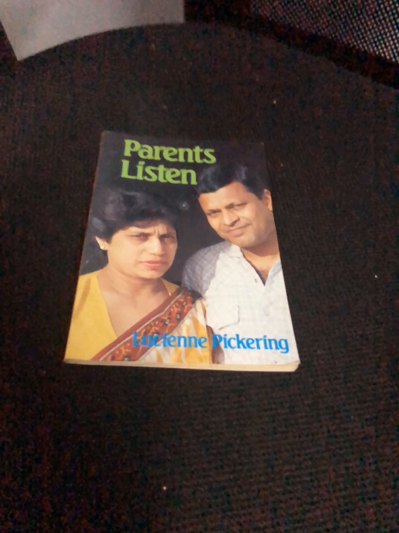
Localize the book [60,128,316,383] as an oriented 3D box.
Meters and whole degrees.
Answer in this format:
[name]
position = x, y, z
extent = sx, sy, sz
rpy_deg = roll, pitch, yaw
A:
[book]
position = -0.006, -0.021, 0.284
extent = 0.130, 0.010, 0.191
rpy_deg = 4, 52, -6
